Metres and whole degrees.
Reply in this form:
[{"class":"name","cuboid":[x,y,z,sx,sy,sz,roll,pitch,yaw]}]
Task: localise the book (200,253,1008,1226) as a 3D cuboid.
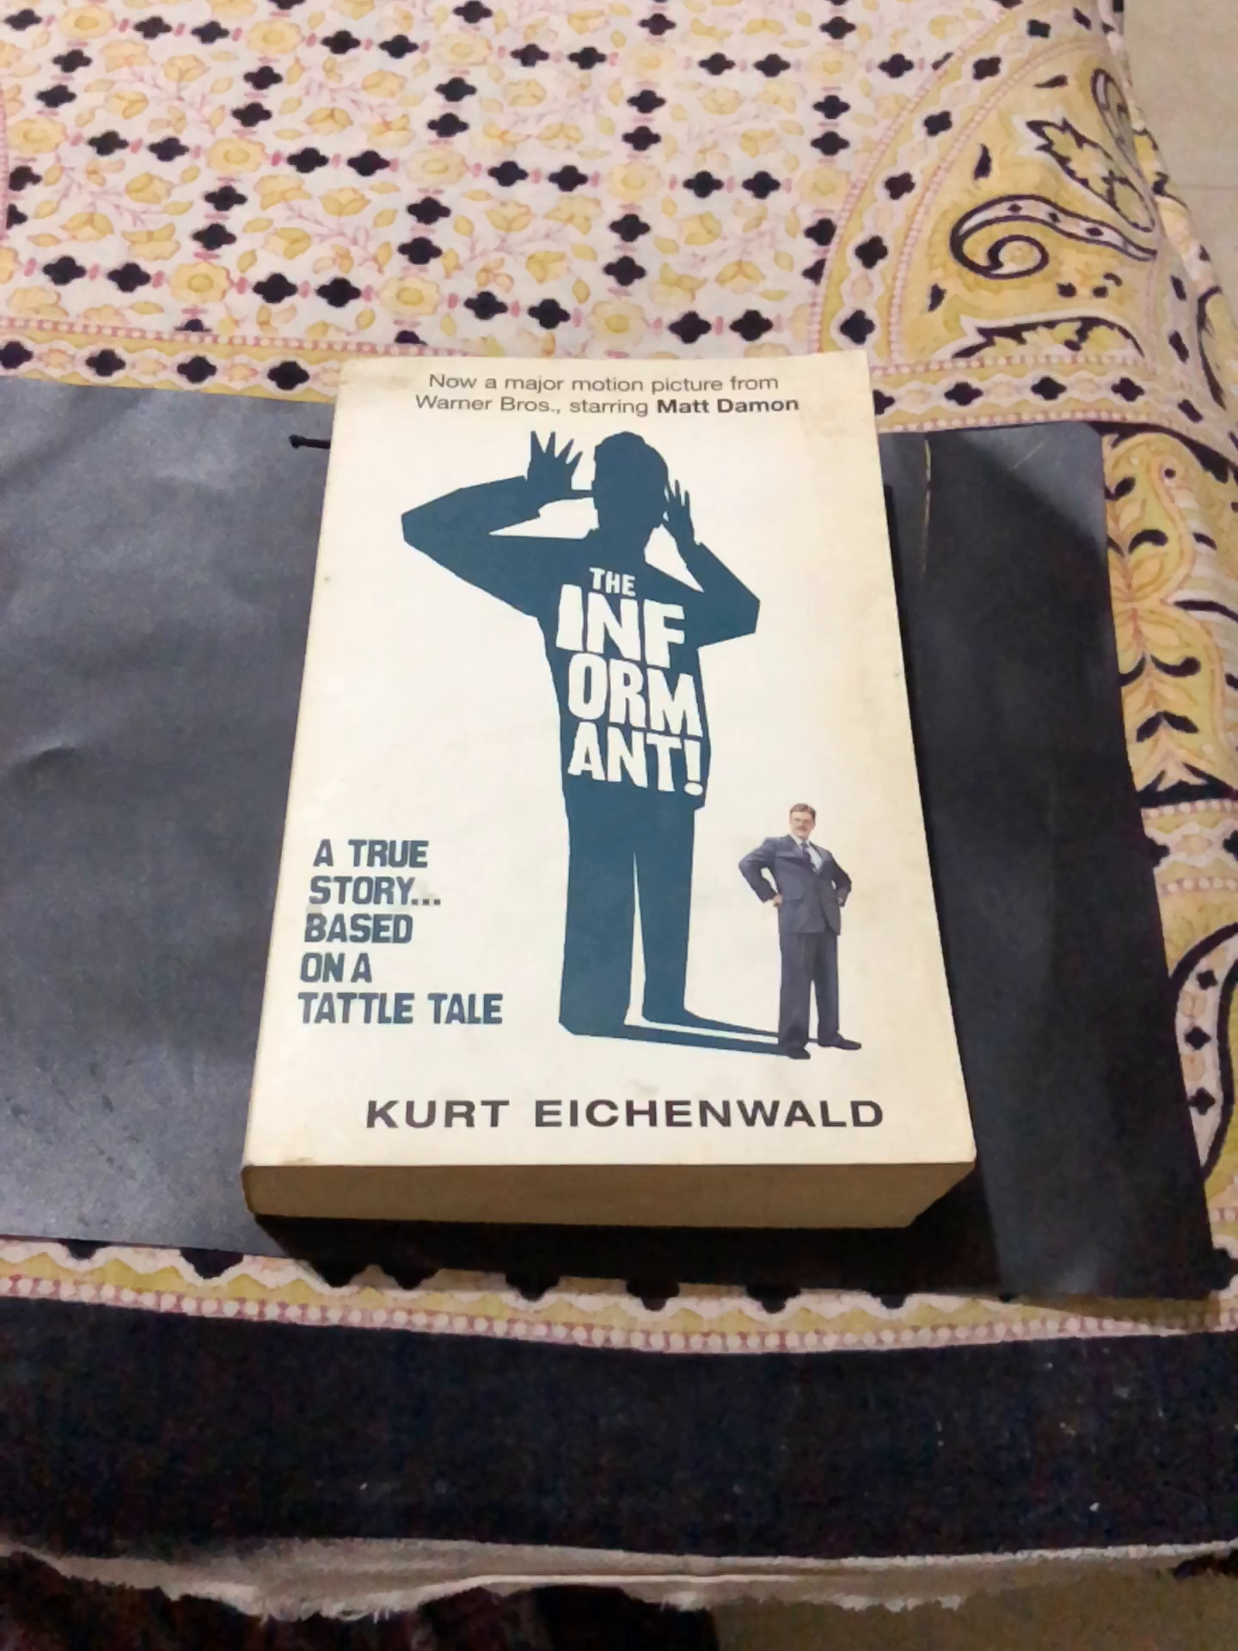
[{"class":"book","cuboid":[-0.003,-0.031,0.317,0.140,0.050,0.230,1,61,-2]}]
